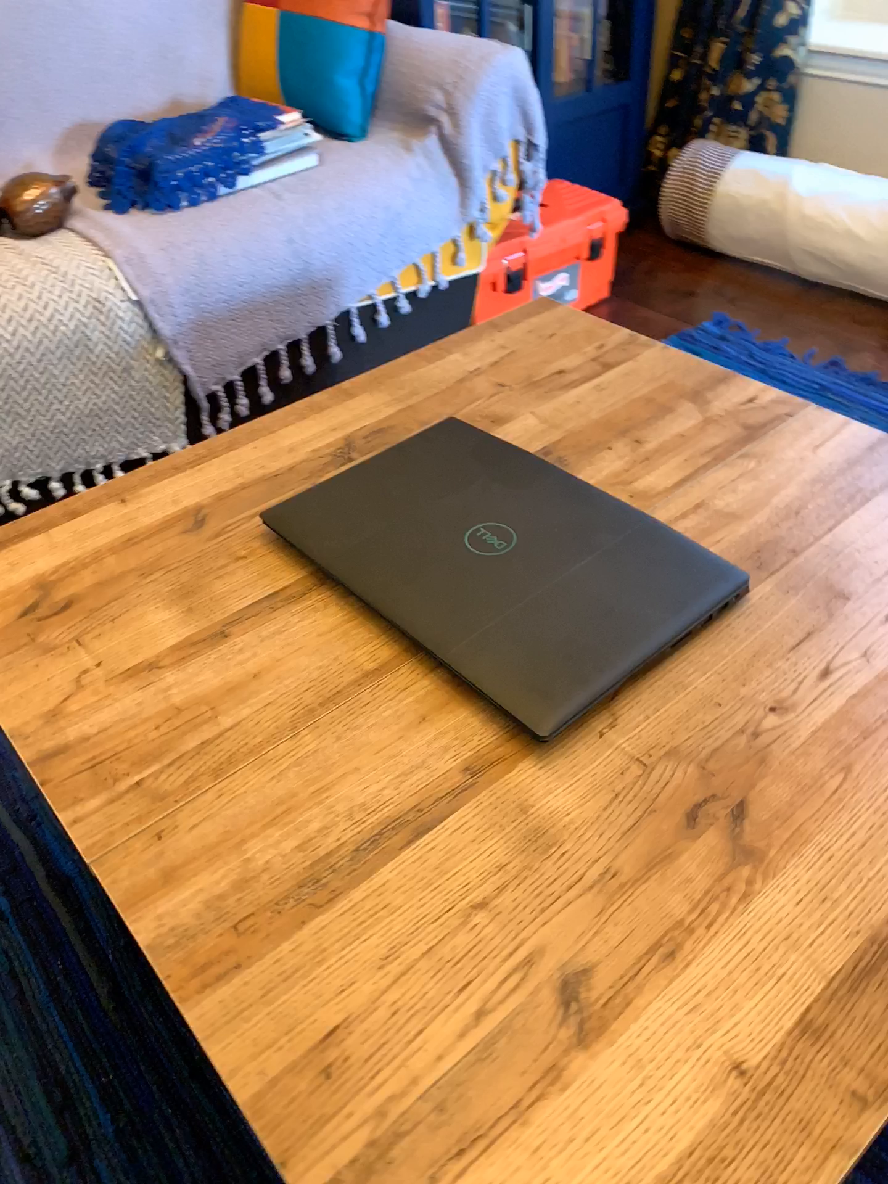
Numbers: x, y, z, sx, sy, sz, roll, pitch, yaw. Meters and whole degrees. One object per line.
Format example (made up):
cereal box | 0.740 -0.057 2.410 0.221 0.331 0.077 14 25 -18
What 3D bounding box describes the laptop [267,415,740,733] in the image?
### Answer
laptop | 0.038 -0.043 0.767 0.227 0.001 0.347 -32 49 -28
